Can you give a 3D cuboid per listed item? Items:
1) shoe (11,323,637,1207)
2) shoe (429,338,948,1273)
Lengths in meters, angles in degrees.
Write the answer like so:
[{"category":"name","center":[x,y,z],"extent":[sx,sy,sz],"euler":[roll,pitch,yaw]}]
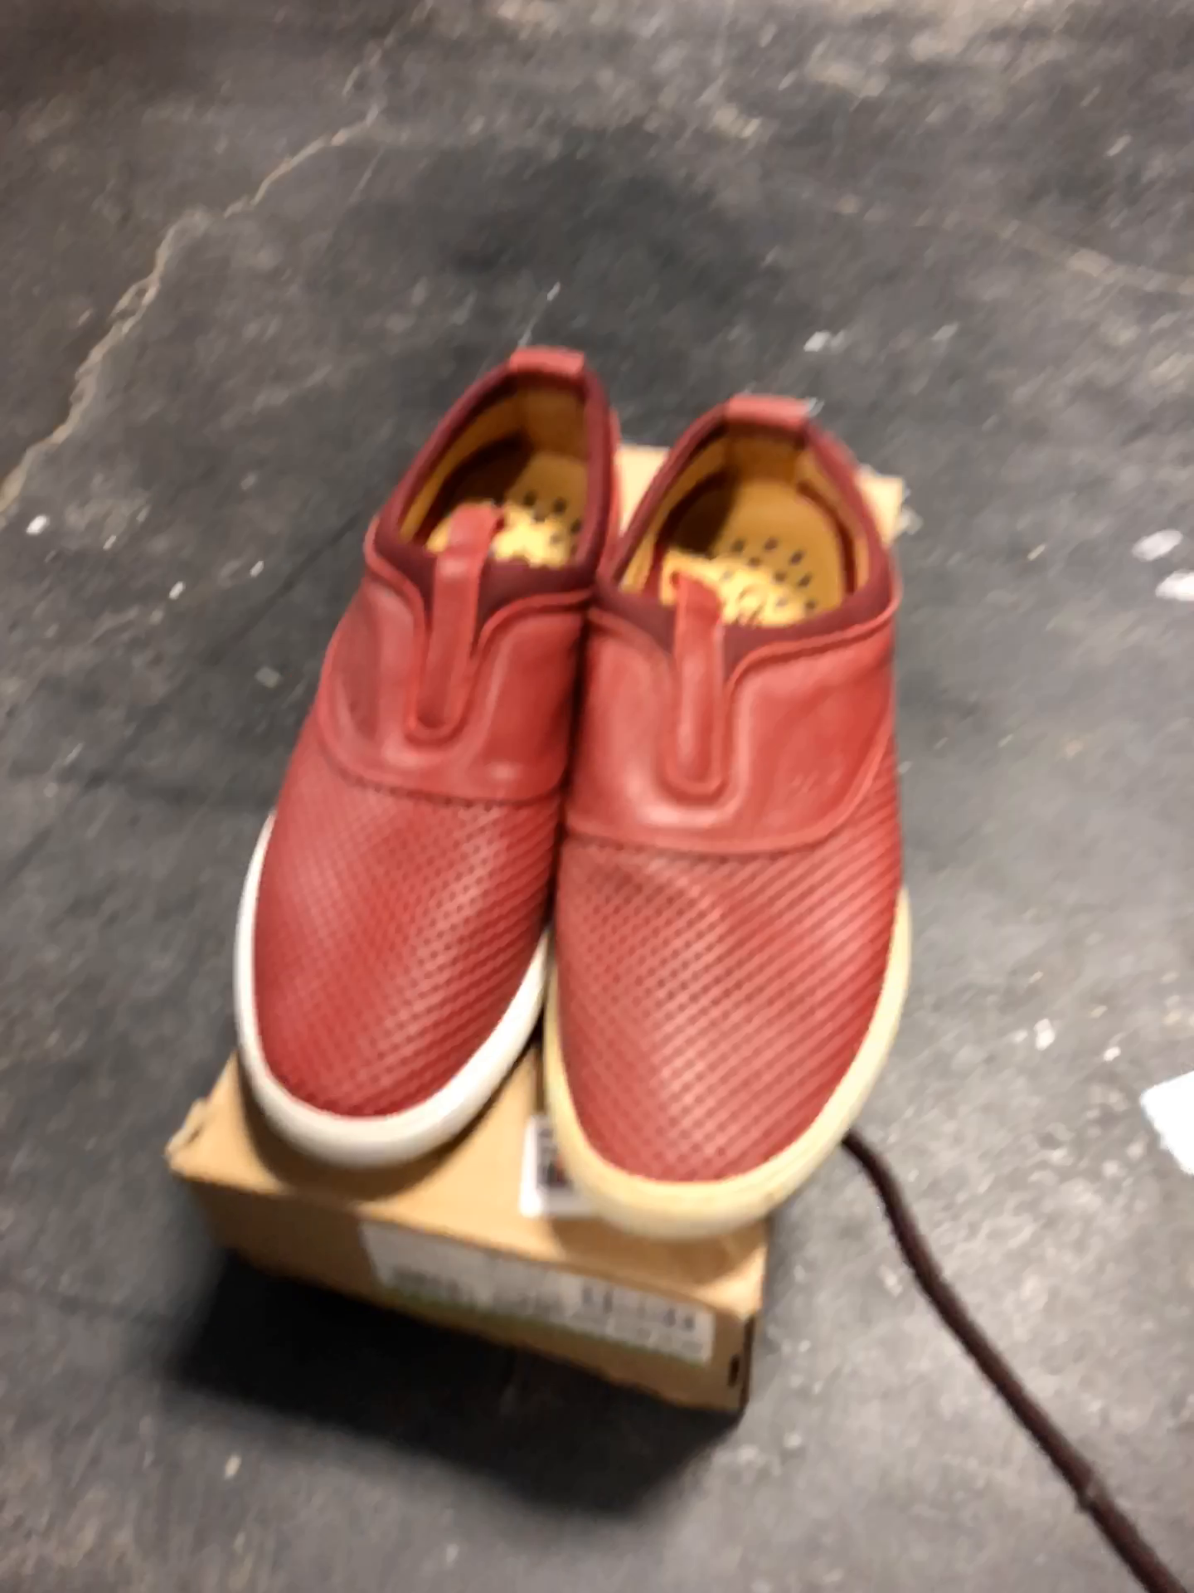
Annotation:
[{"category":"shoe","center":[-0.055,-0.019,0.380],"extent":[0.100,0.109,0.231],"euler":[7,54,7]},{"category":"shoe","center":[0.036,-0.008,0.362],"extent":[0.100,0.109,0.231],"euler":[7,54,7]}]
